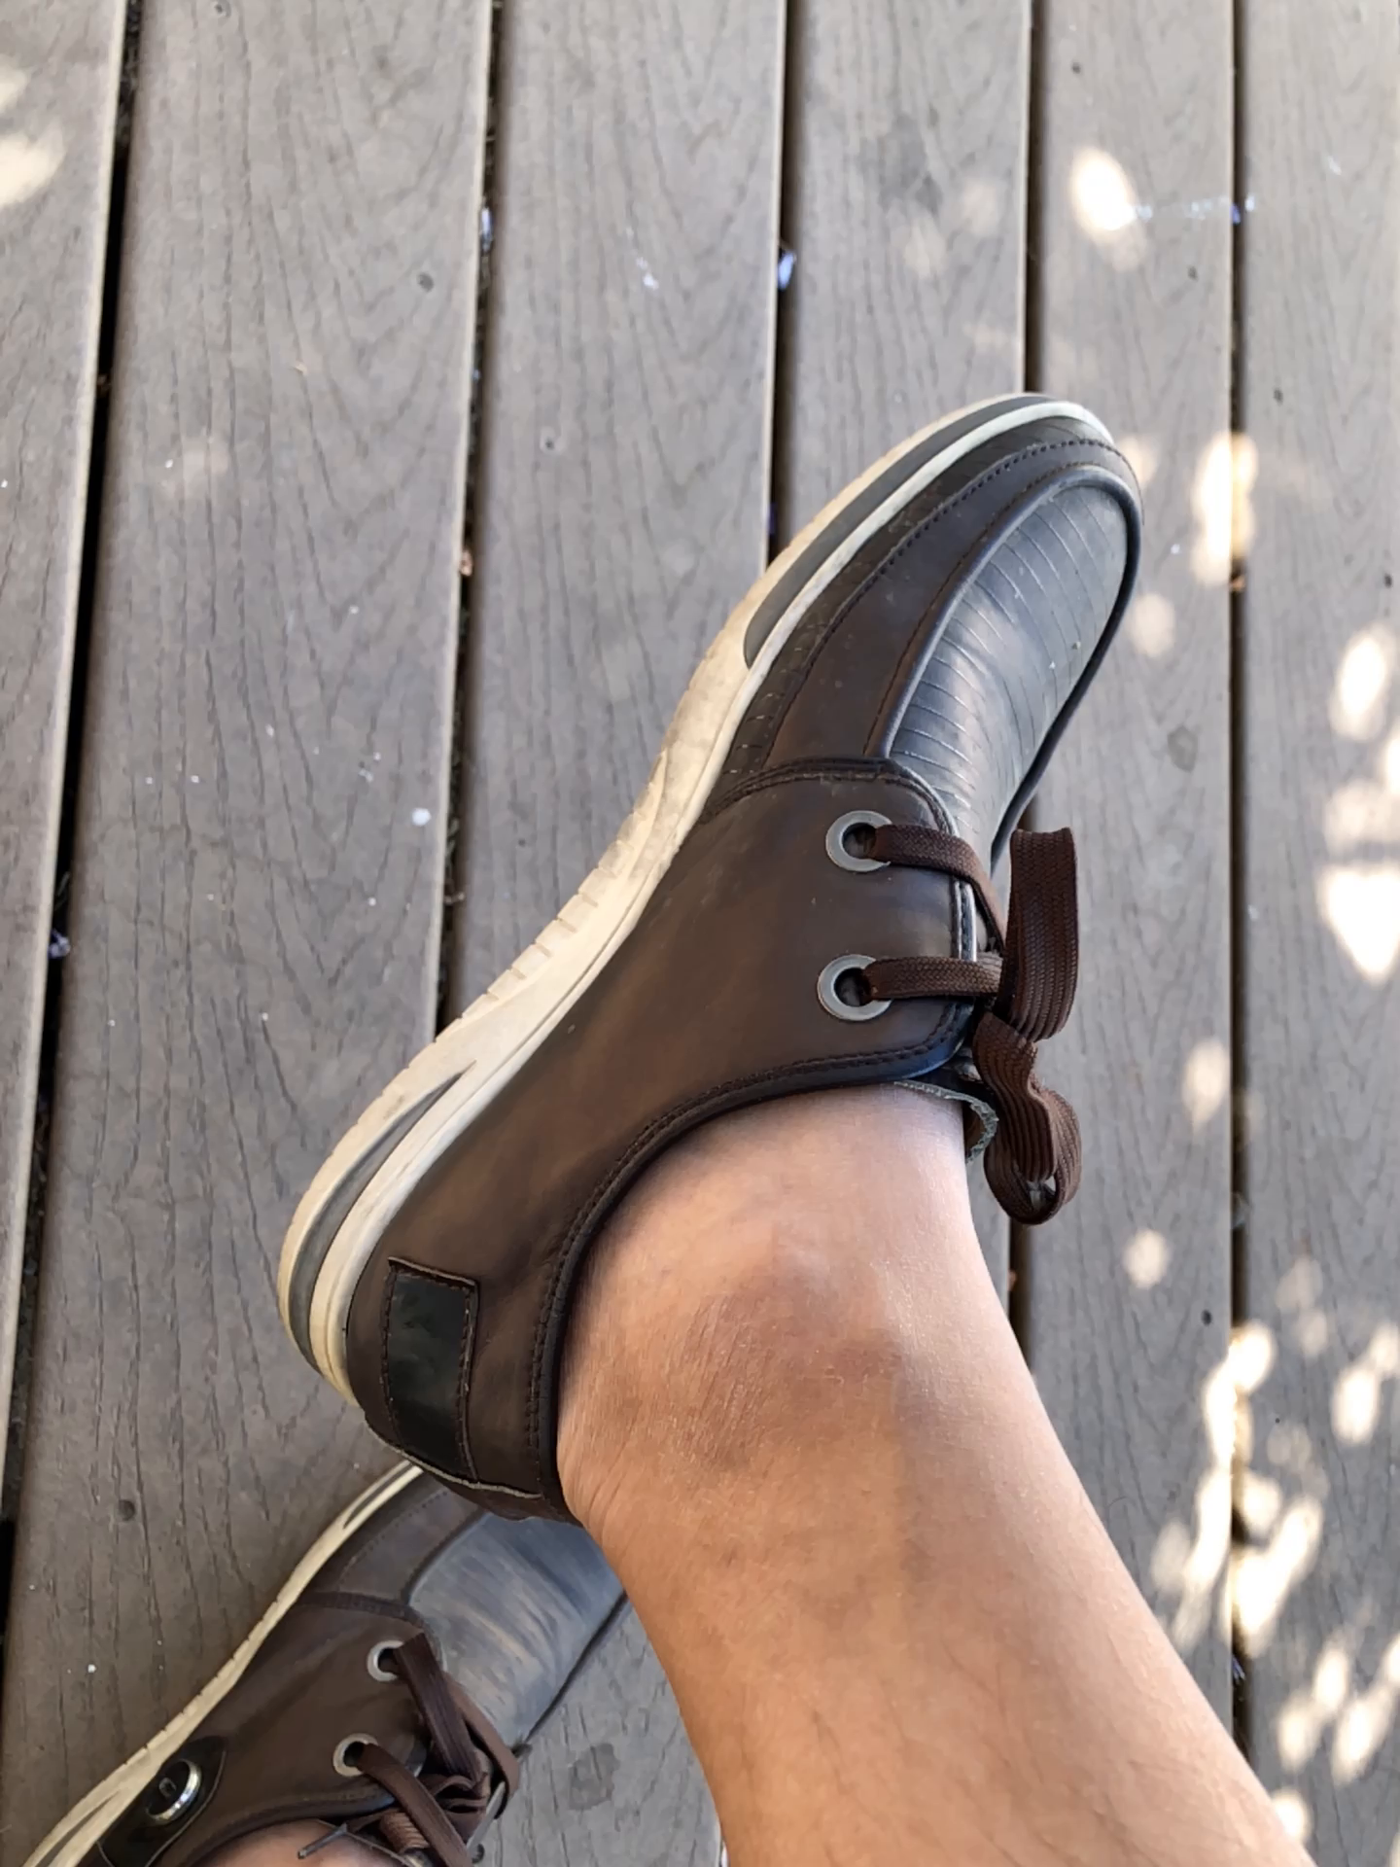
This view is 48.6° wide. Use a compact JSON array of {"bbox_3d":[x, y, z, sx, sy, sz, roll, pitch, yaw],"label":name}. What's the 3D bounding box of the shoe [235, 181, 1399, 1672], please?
[{"bbox_3d":[0.050,-0.009,0.352,0.295,0.104,0.119,-55,129,-9],"label":"shoe"}]
